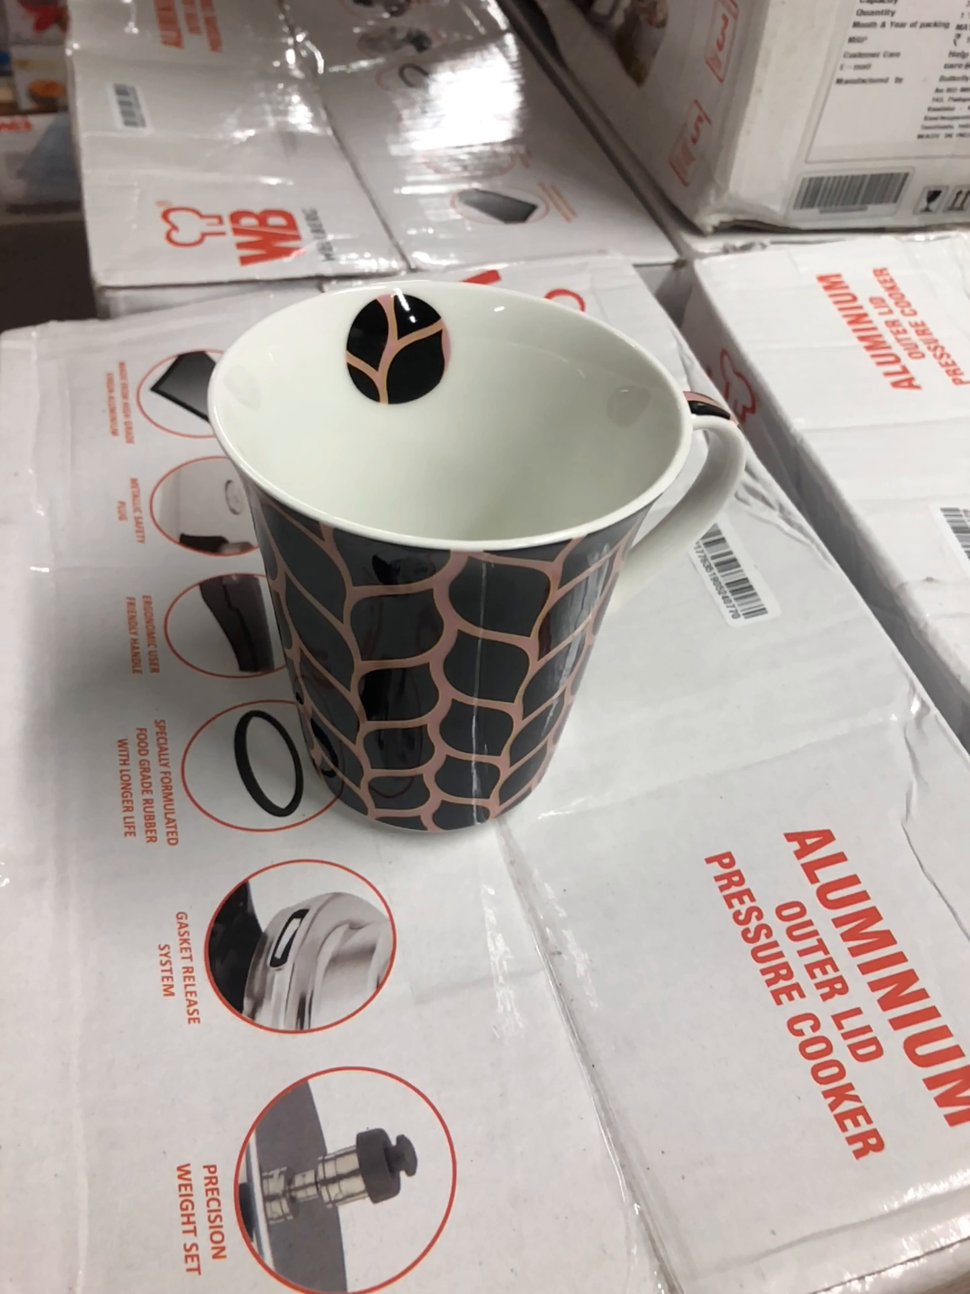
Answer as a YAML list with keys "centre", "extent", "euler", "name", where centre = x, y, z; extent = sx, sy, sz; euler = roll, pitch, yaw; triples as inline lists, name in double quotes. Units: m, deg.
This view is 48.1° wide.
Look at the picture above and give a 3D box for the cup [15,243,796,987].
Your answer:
- centre: [-0.019, -0.009, 0.221]
  extent: [0.110, 0.099, 0.080]
  euler: [-17, 52, -22]
  name: "cup"
